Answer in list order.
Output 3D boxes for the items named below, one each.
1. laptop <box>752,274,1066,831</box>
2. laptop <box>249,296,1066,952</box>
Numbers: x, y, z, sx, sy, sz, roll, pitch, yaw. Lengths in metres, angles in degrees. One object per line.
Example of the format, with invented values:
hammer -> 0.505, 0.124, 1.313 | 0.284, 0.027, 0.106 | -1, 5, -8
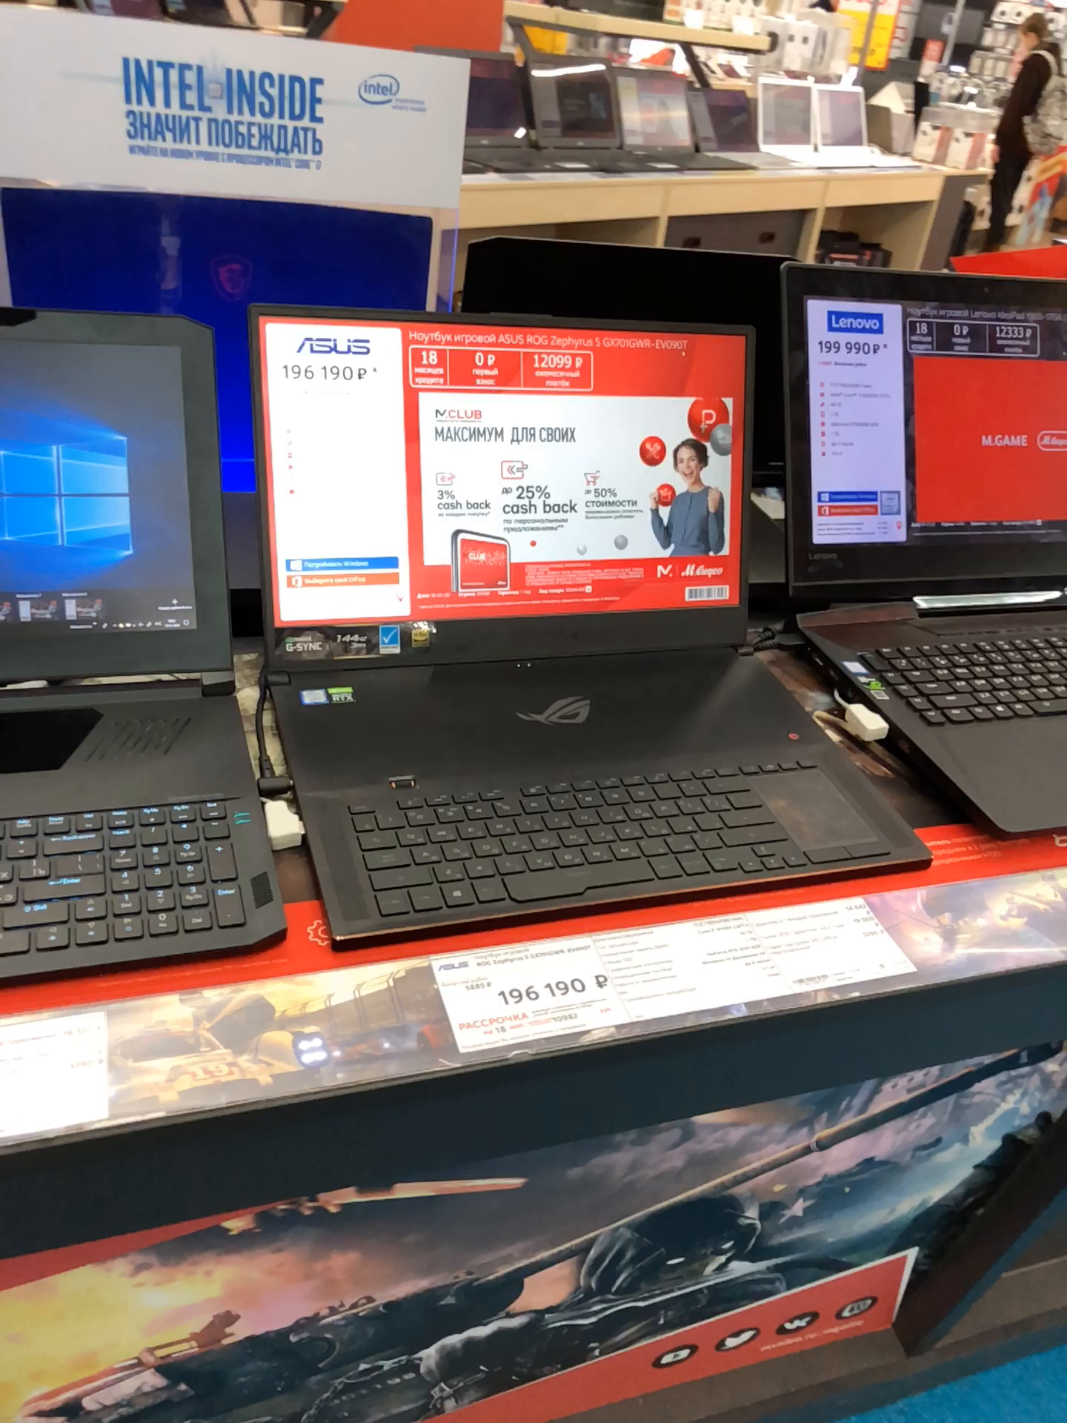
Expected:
laptop -> 0.463, -0.157, 0.926 | 0.374, 0.248, 0.413 | -5, 35, -17
laptop -> 0.035, -0.090, 0.780 | 0.391, 0.240, 0.379 | -4, 34, -21
